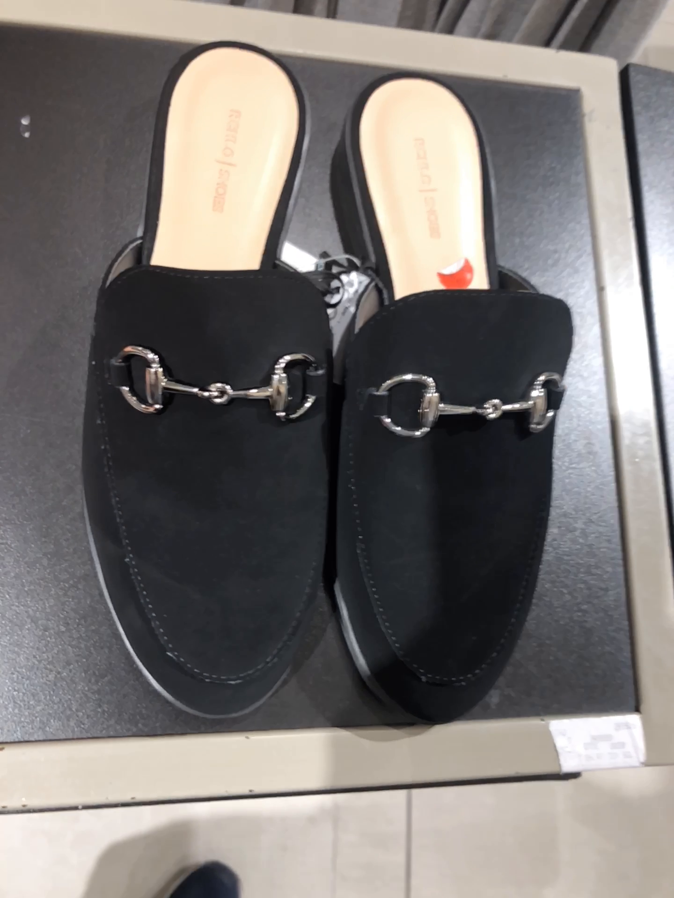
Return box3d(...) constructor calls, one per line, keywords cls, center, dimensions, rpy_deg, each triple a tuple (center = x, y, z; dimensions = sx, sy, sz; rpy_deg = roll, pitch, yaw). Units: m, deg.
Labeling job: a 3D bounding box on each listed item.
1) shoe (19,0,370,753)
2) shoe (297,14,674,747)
box3d(cls="shoe", center=(-0.042, -0.027, 0.249), dimensions=(0.090, 0.080, 0.220), rpy_deg=(1, 83, -10))
box3d(cls="shoe", center=(0.041, -0.025, 0.259), dimensions=(0.090, 0.070, 0.220), rpy_deg=(-1, 78, -11))
